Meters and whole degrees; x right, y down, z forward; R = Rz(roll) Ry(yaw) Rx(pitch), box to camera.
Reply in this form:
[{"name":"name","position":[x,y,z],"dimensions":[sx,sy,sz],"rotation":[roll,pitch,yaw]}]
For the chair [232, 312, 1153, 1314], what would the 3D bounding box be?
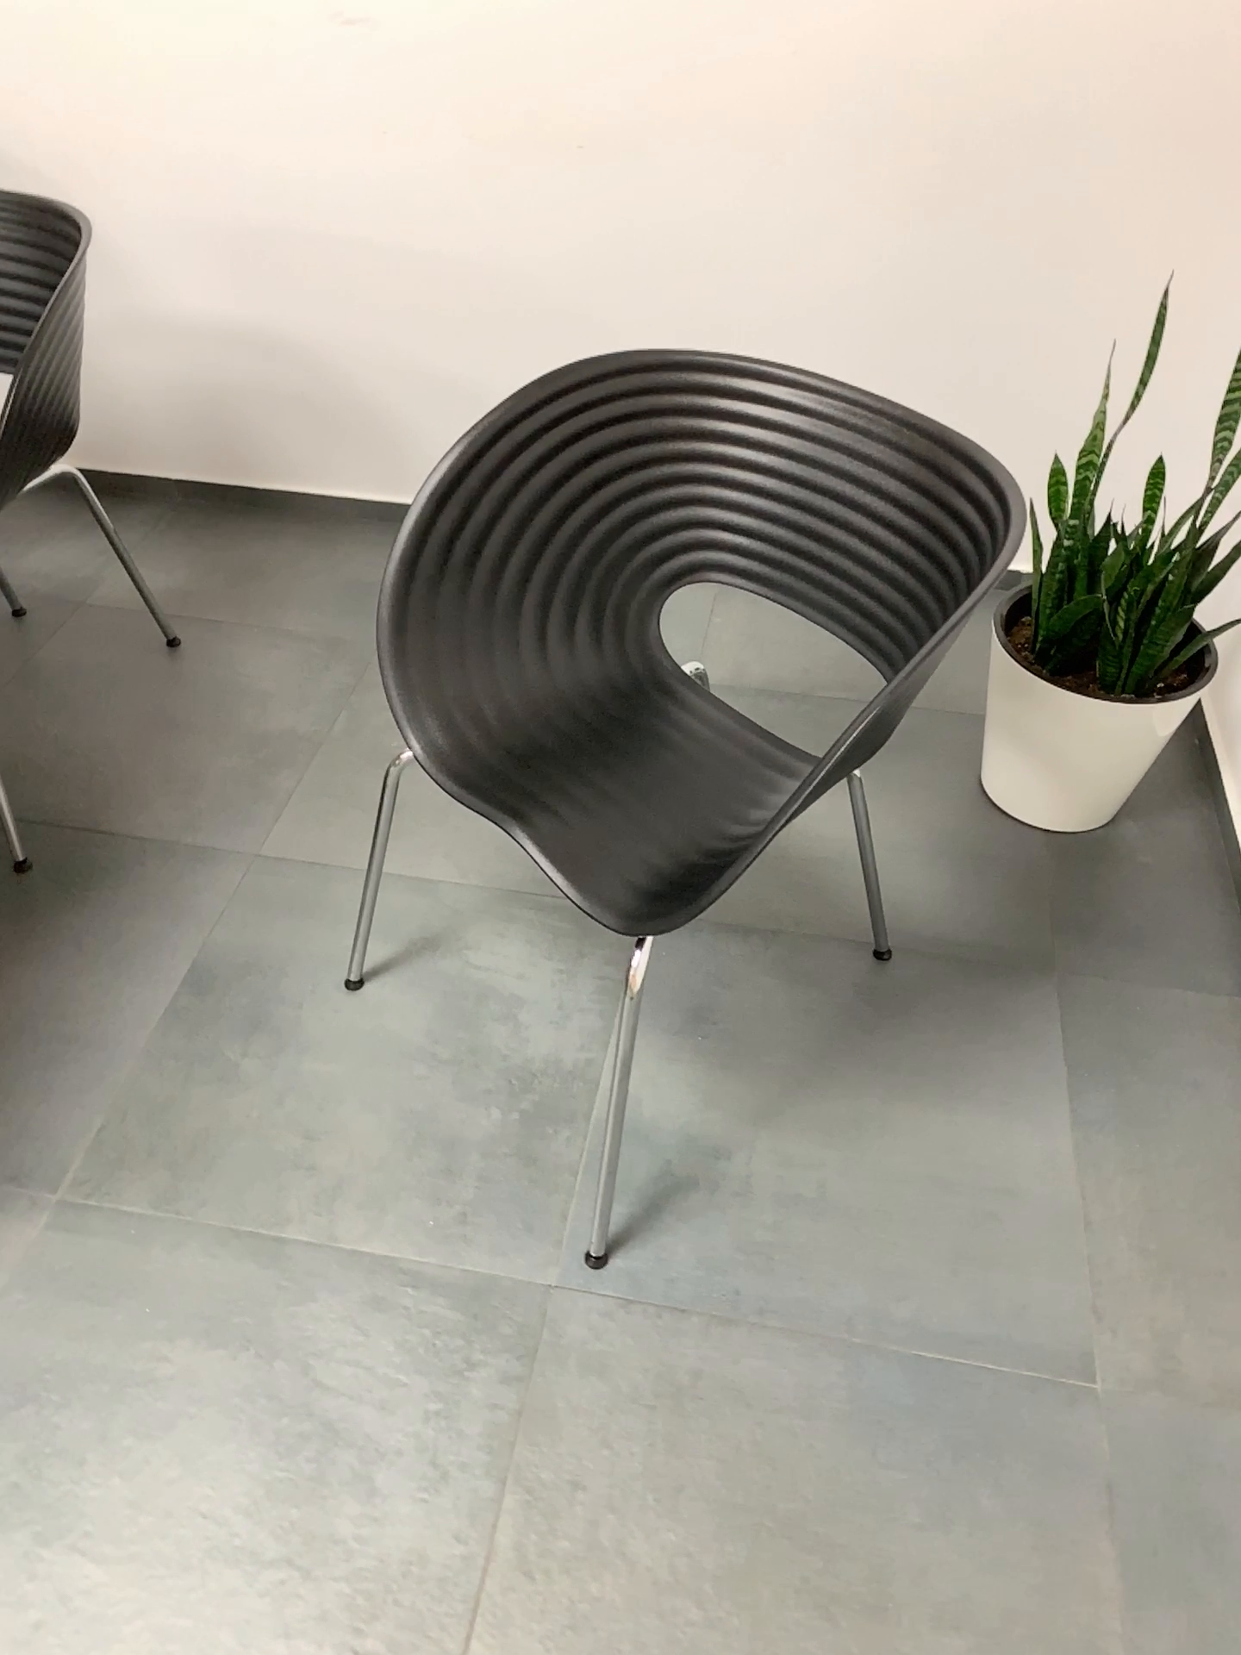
[{"name":"chair","position":[0.052,-0.048,1.516],"dimensions":[0.642,0.796,0.652],"rotation":[-28,50,-30]}]
